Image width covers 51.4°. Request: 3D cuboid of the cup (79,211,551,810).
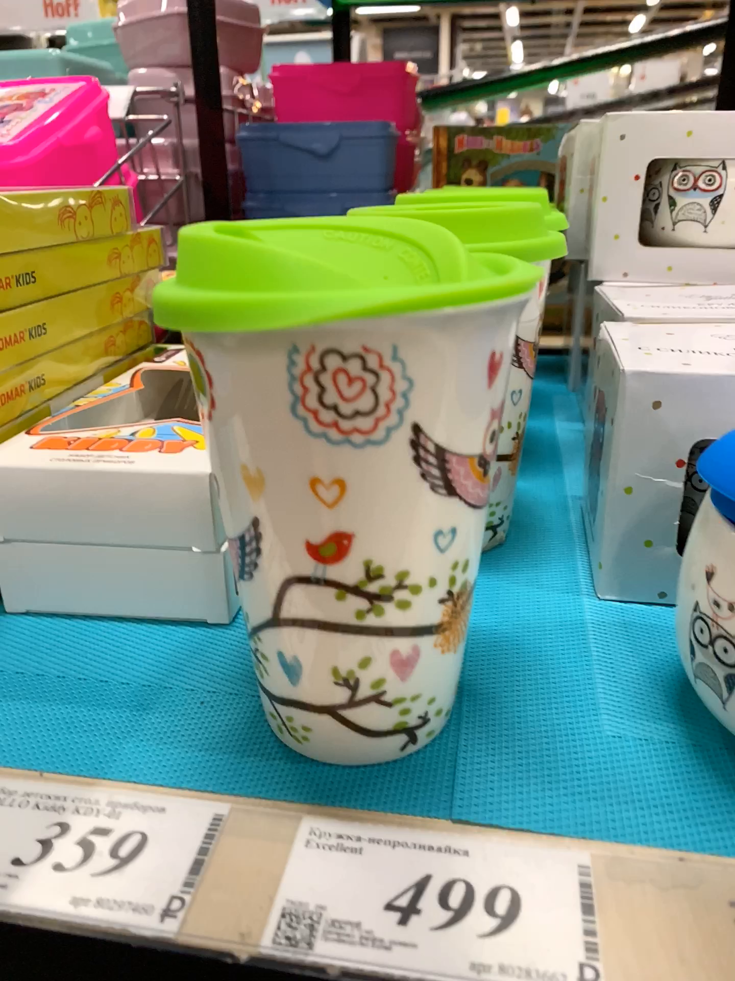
[{"bbox_3d":[-0.006,-0.002,0.208,0.090,0.136,0.085,0,22,0],"label":"cup"}]
